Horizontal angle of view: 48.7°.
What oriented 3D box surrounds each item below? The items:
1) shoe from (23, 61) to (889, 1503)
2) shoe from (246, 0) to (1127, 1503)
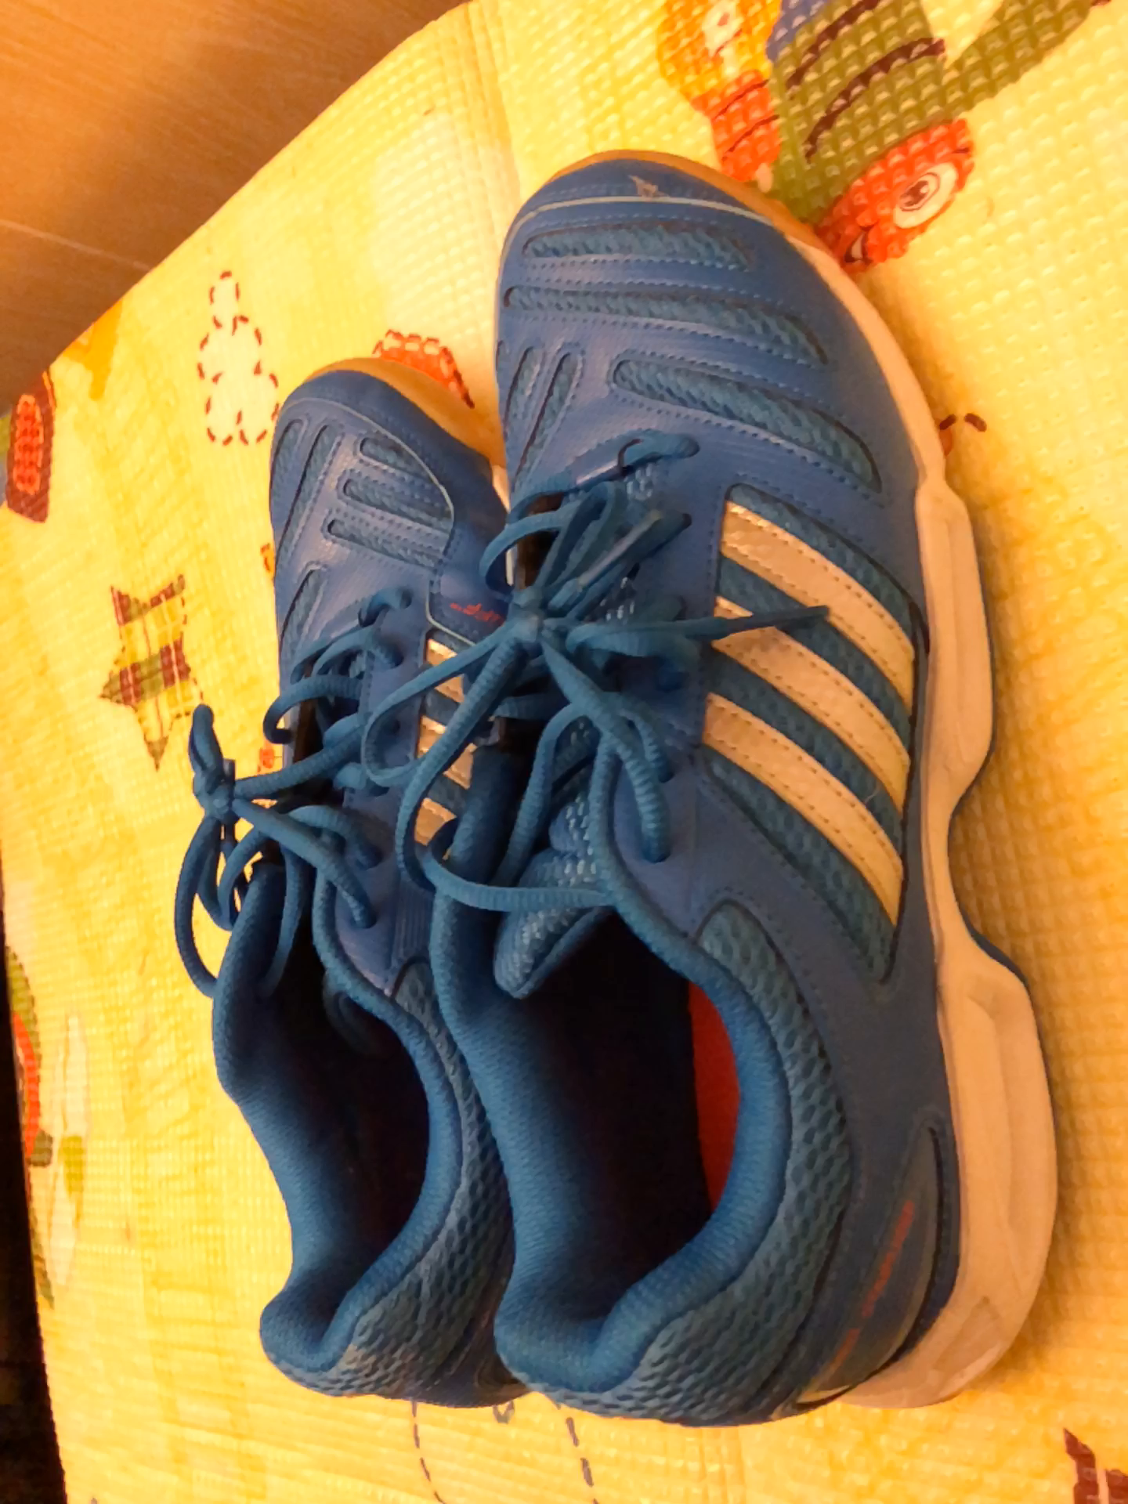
[{"bbox_3d":[-0.033,0.008,0.324,0.110,0.139,0.290,-21,75,42],"label":"shoe"},{"bbox_3d":[0.035,-0.010,0.258,0.111,0.119,0.290,-20,75,42],"label":"shoe"}]
